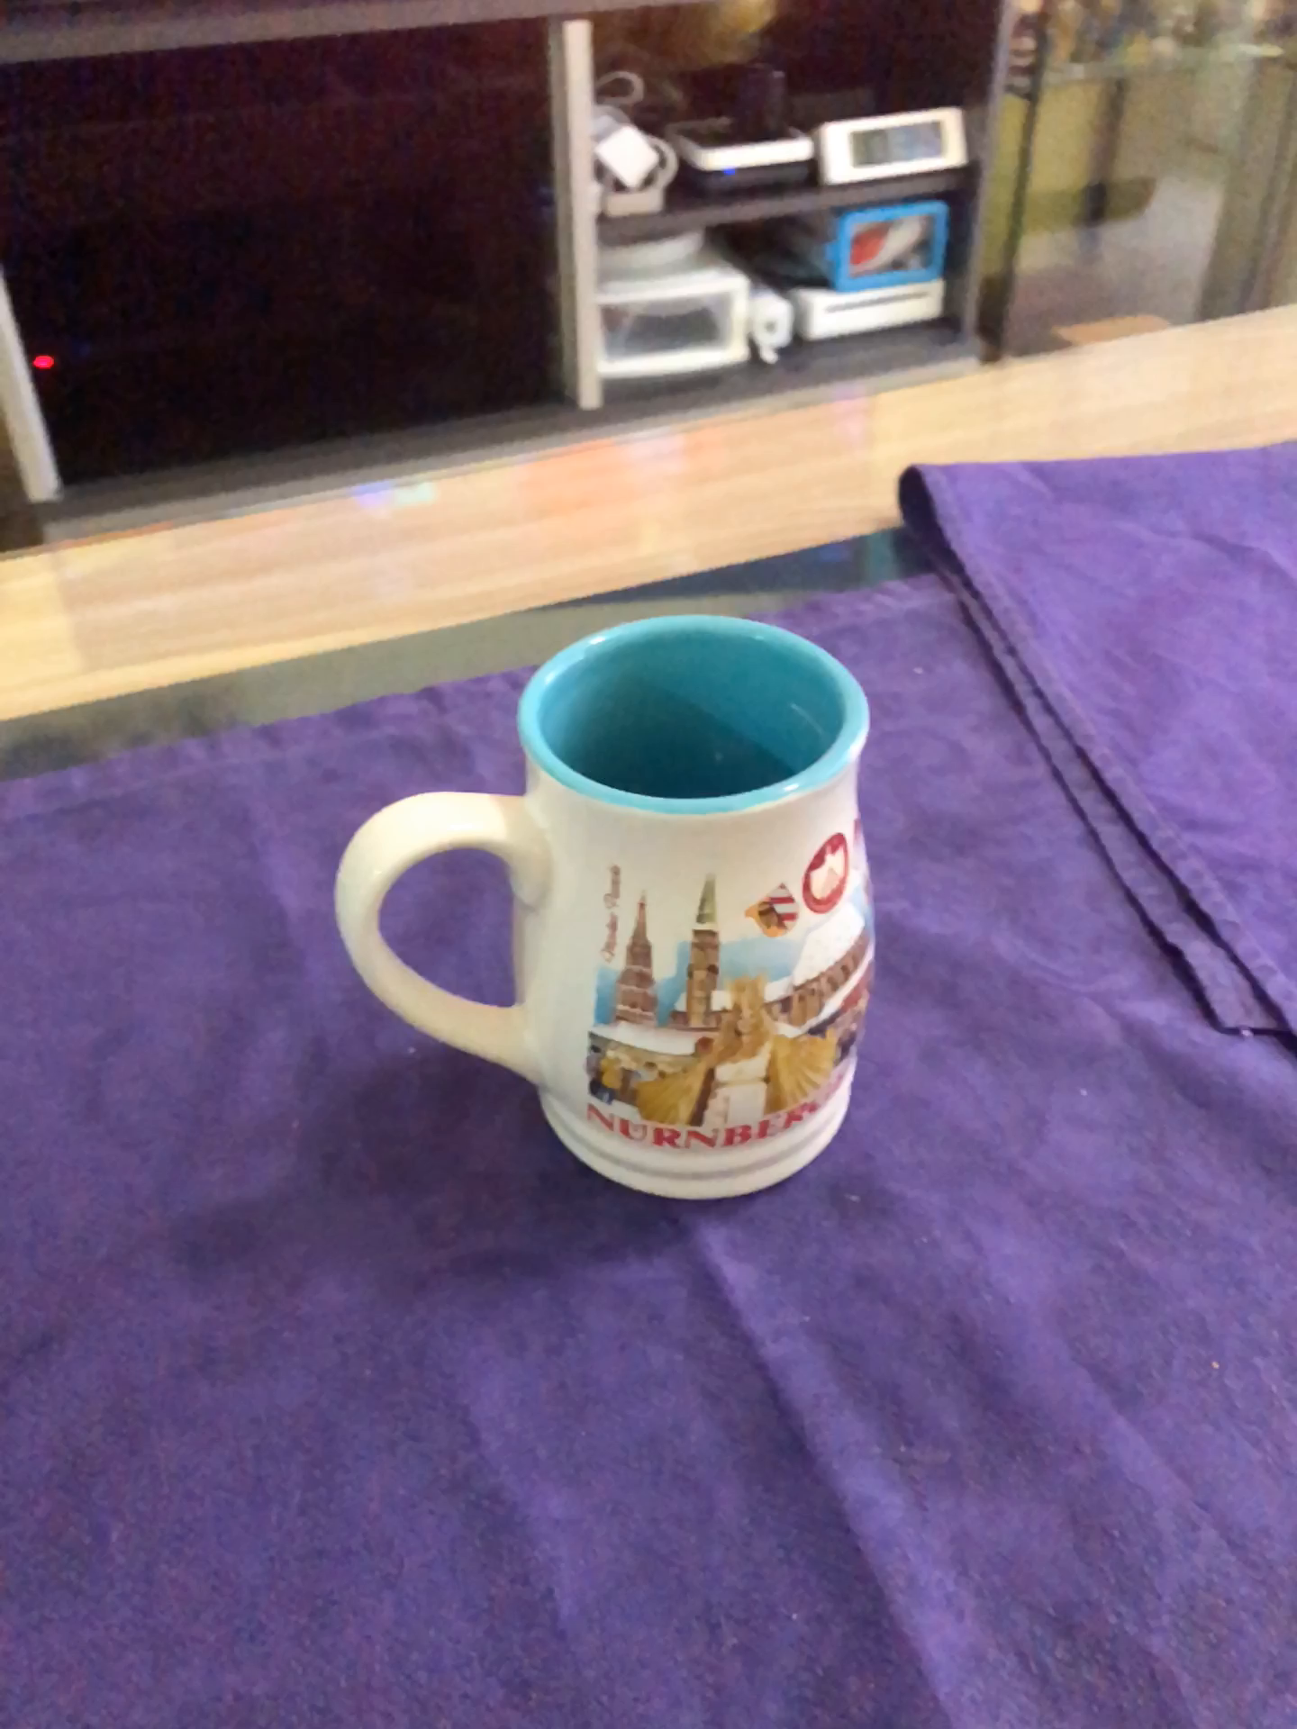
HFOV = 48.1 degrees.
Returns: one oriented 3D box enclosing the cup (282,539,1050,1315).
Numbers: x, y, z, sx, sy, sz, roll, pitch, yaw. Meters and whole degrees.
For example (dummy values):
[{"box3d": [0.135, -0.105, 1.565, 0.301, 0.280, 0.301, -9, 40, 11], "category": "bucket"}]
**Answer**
[{"box3d": [0.000, 0.010, 0.299, 0.120, 0.109, 0.080, -13, 40, -14], "category": "cup"}]
